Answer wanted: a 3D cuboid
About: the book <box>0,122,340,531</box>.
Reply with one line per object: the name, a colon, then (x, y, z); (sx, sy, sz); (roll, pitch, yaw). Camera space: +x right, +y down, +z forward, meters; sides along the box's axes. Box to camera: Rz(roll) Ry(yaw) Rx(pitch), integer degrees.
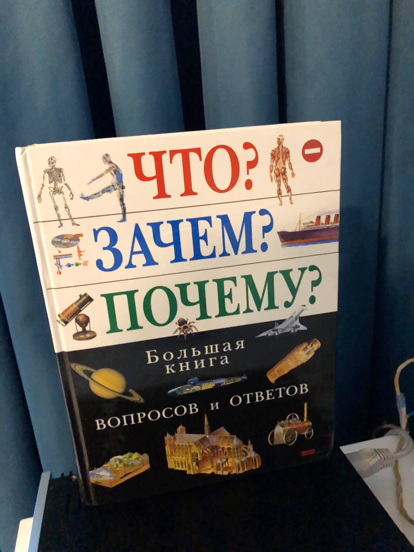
book: (-0.012, 0.046, 0.362); (0.224, 0.301, 0.042); (-8, 20, -9)
